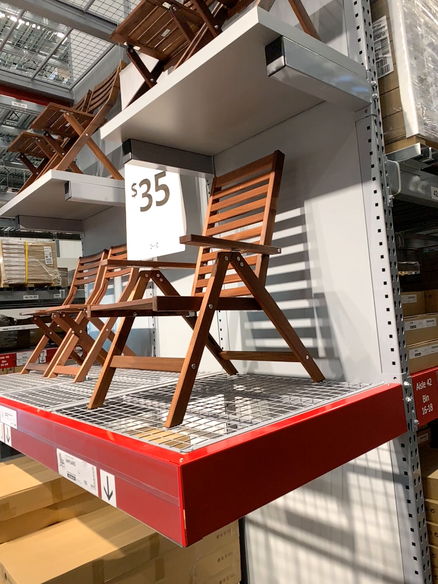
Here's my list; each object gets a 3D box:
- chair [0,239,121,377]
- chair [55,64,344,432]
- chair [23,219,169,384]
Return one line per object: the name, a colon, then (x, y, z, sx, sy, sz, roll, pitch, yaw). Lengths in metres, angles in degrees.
chair: (-1.181, 0.116, 3.277, 0.631, 0.885, 0.615, -2, -4, -40)
chair: (-0.065, -0.124, 1.790, 0.890, 1.055, 0.615, -2, -5, -42)
chair: (-0.786, 0.062, 2.818, 0.631, 0.885, 0.615, -2, -5, -42)
